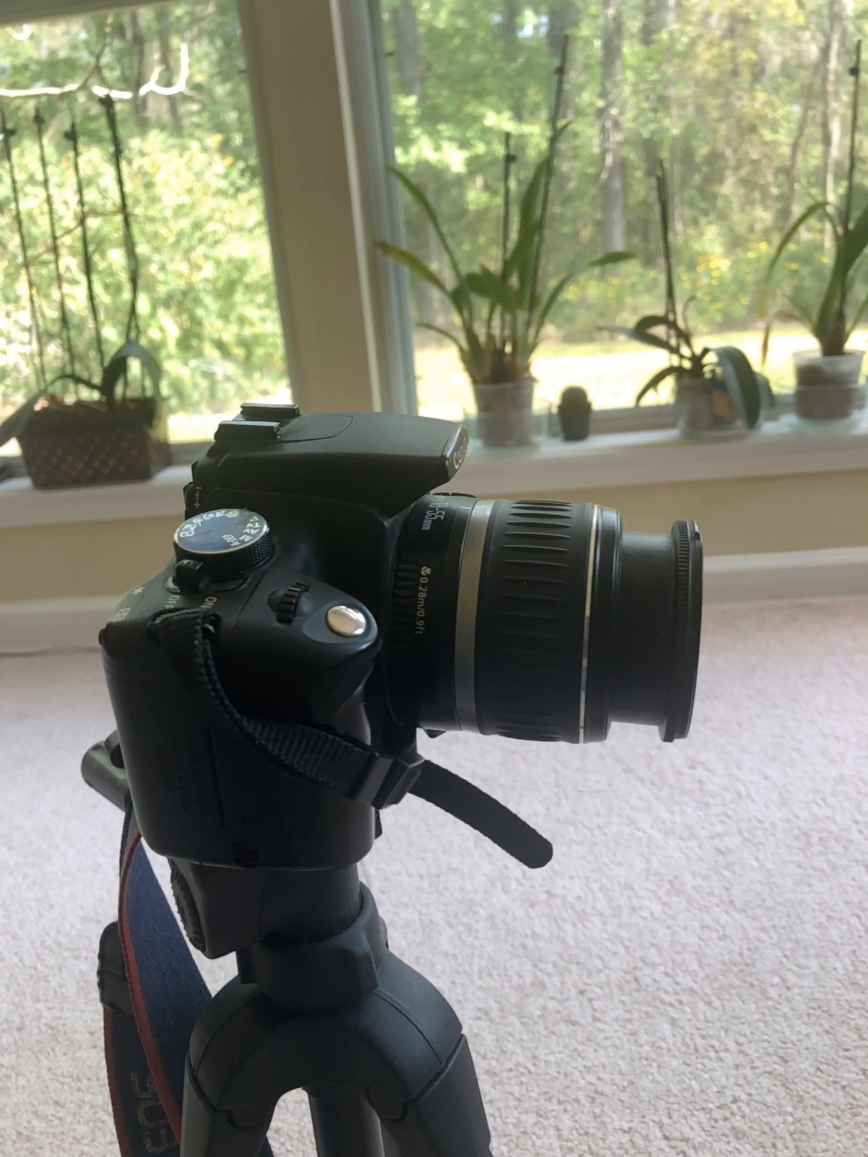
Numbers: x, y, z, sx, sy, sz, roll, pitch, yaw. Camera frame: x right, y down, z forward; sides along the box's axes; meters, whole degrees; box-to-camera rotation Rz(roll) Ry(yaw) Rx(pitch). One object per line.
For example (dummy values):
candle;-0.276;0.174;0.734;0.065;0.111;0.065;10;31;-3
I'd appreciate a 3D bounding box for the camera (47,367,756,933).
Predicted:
camera;0.000;0.006;0.268;0.142;0.093;0.131;3;27;8
